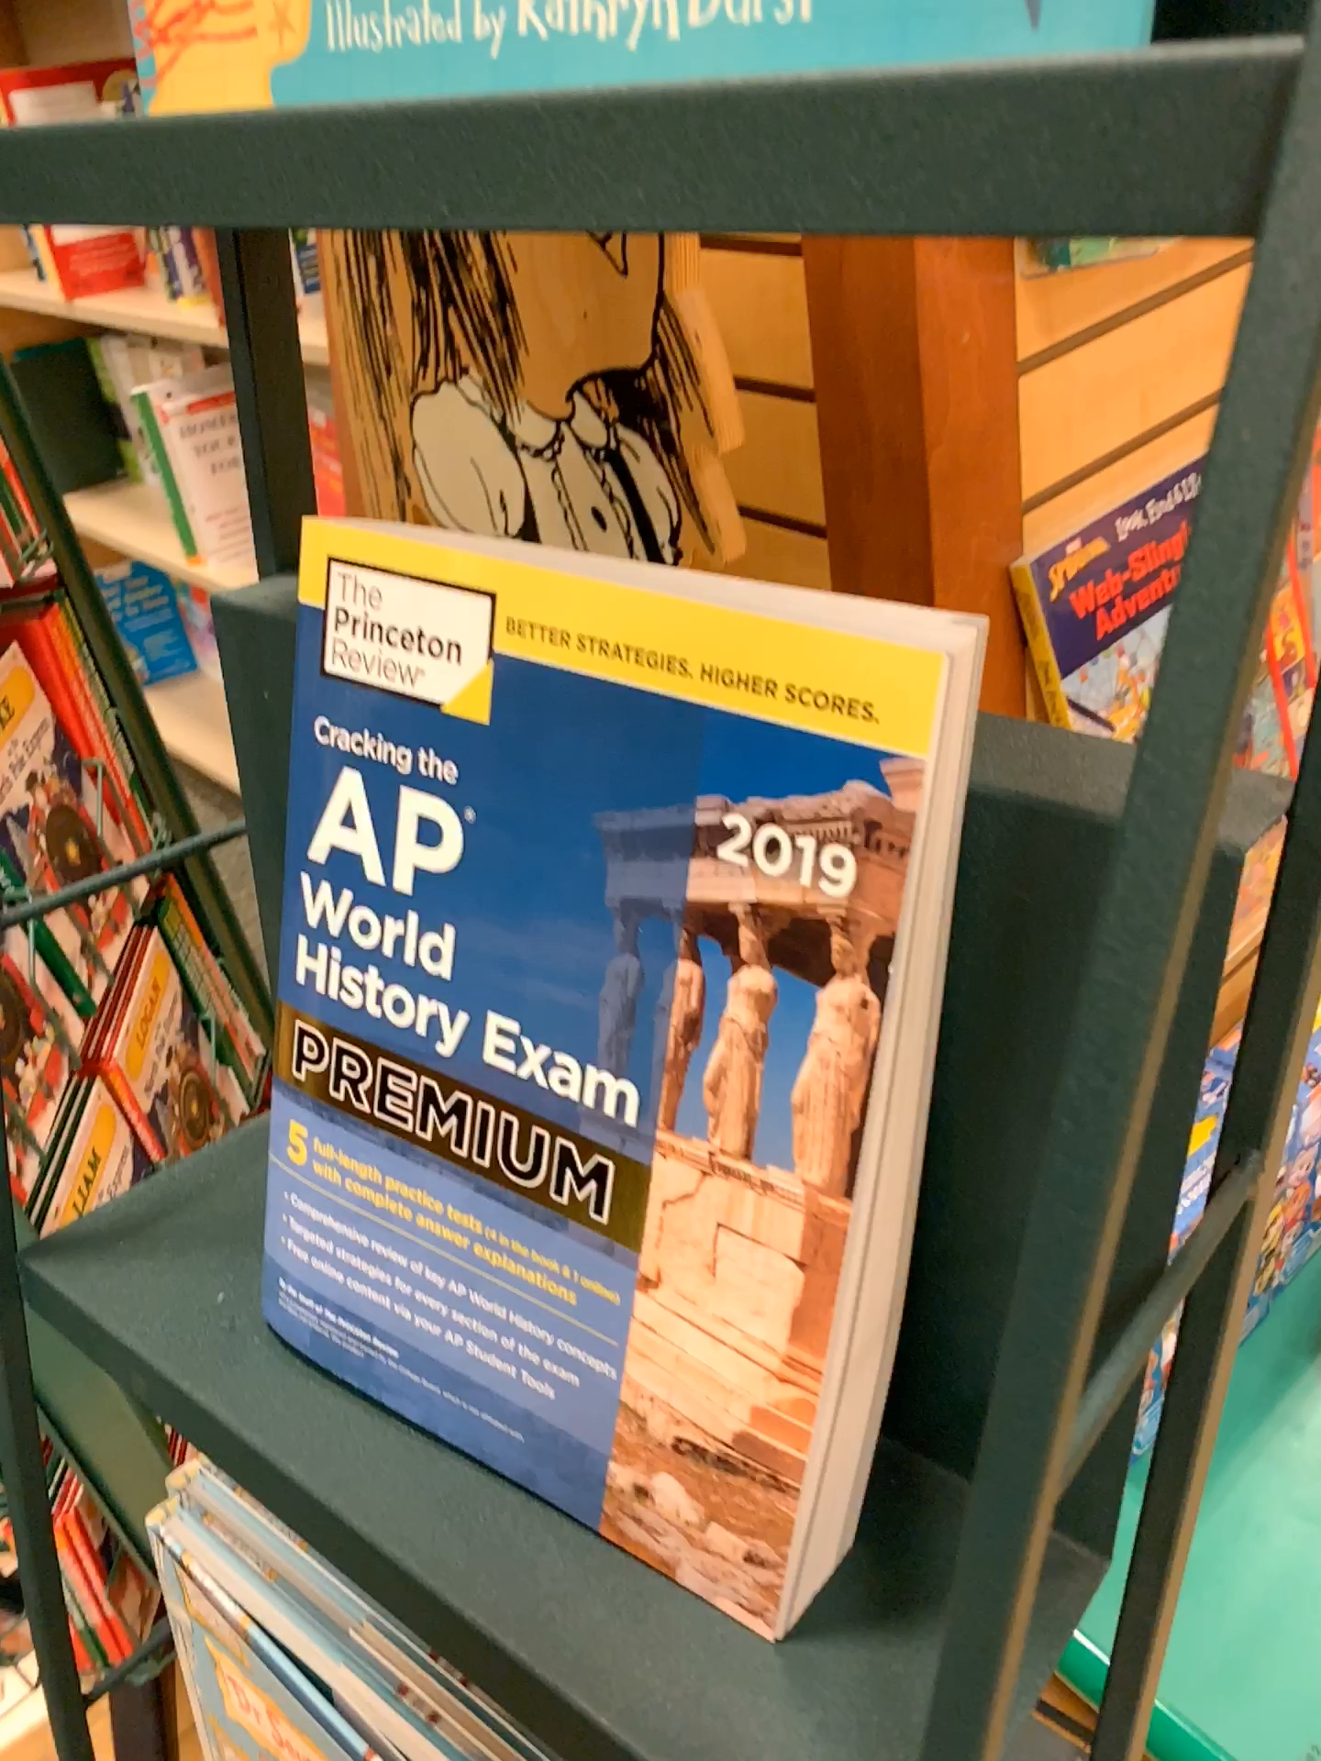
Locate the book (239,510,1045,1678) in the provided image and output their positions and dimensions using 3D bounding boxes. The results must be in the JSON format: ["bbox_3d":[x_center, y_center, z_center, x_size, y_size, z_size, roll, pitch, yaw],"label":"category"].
[{"bbox_3d":[-0.027,0.044,0.392,0.215,0.269,0.057,17,18,33],"label":"book"}]
